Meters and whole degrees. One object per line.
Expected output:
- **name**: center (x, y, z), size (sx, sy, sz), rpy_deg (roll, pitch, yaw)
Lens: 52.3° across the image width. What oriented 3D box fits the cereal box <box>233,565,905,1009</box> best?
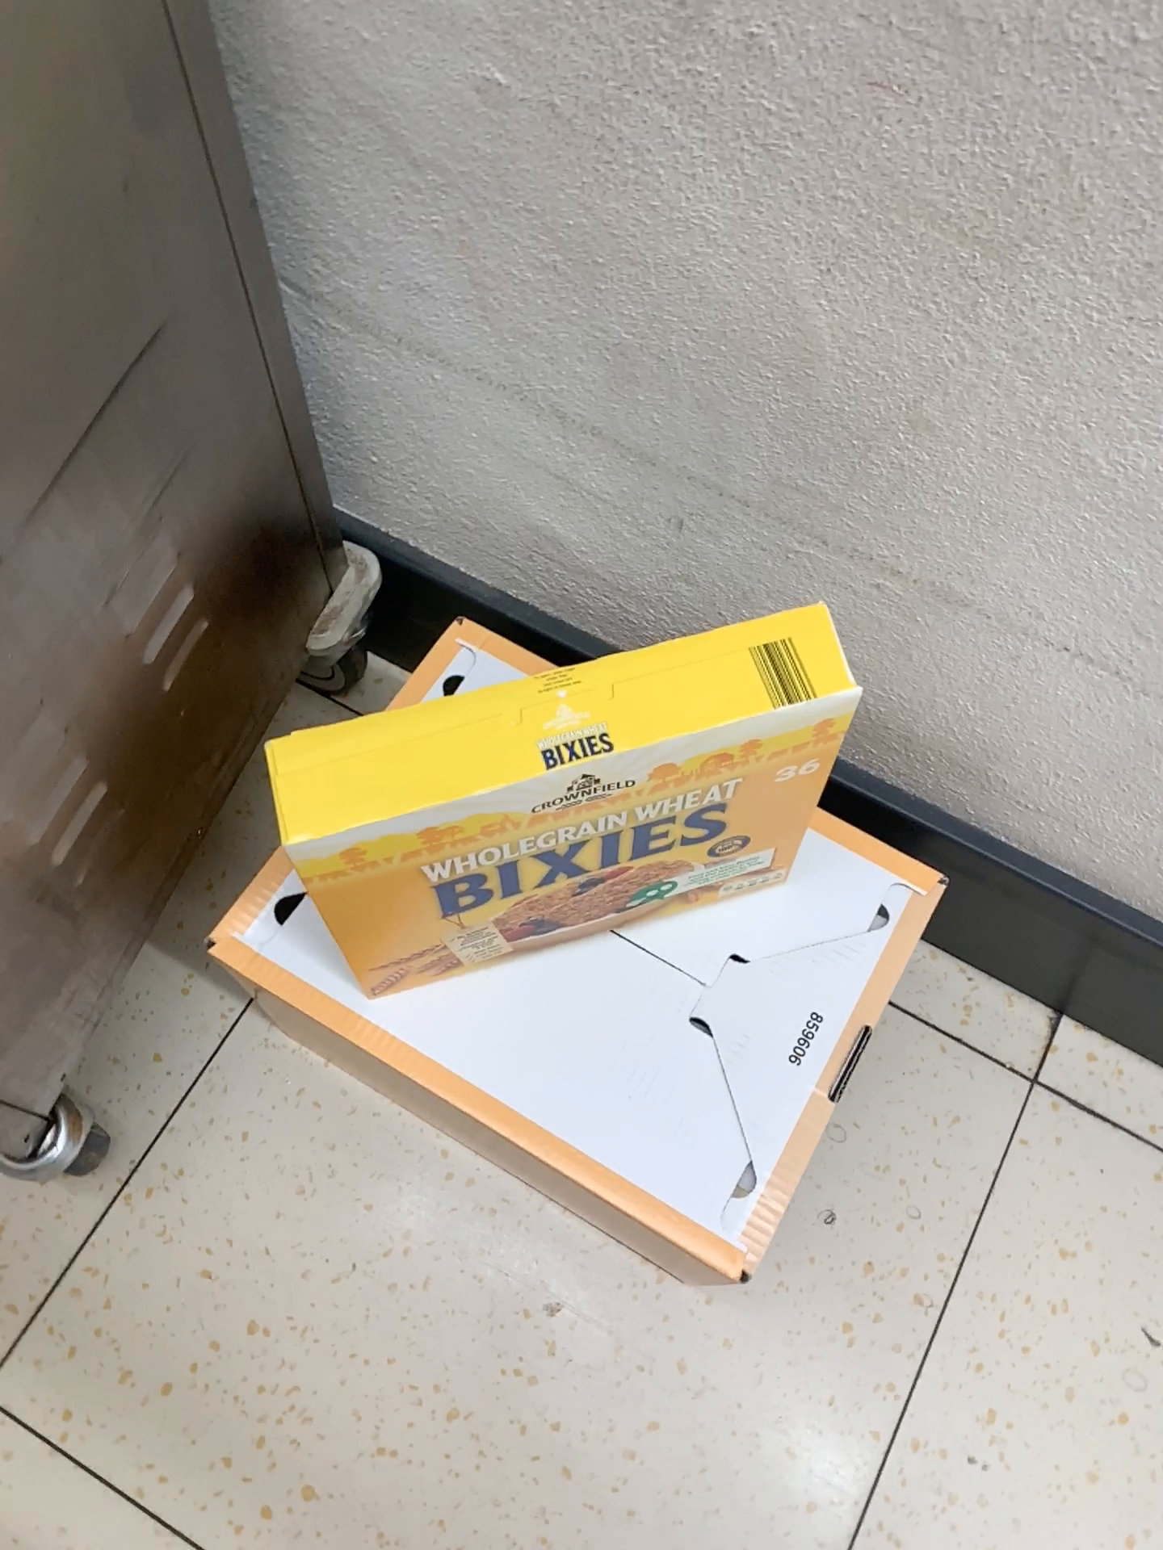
- **cereal box**: center (-0.008, 0.024, 0.653), size (0.290, 0.279, 0.070), rpy_deg (-15, 68, -9)
